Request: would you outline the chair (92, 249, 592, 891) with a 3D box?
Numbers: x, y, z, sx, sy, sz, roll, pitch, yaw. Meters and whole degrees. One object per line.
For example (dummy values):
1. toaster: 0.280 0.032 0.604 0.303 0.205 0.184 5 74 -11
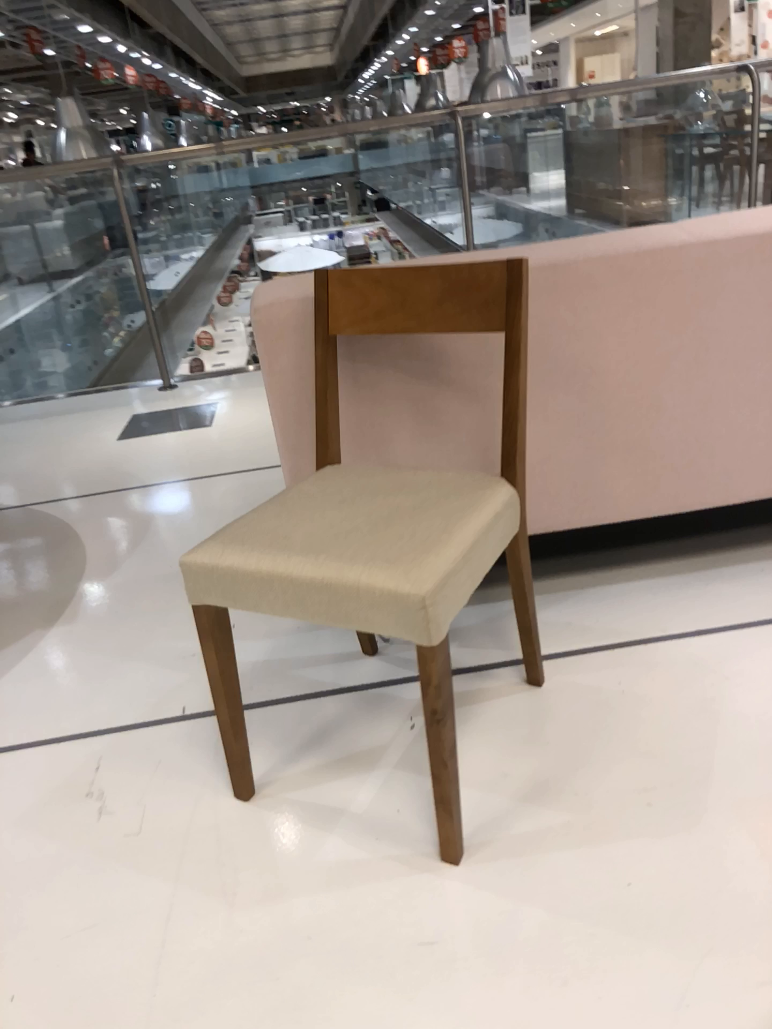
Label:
1. chair: 0.003 0.036 1.433 0.491 0.814 0.593 6 28 30
